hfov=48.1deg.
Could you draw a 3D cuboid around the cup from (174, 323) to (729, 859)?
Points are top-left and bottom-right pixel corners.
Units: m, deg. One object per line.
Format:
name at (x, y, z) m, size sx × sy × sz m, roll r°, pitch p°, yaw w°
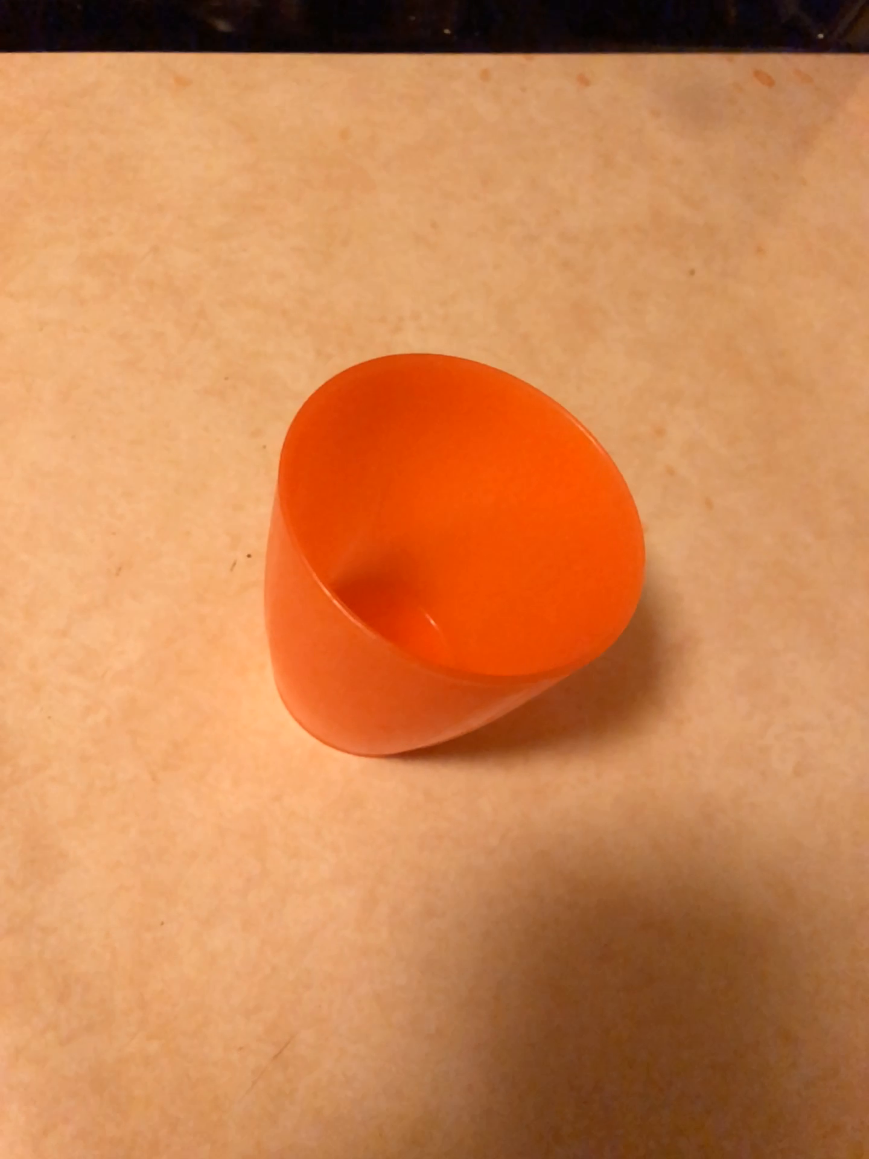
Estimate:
cup at (-0.002, 0.001, 0.222) m, size 0.080 × 0.070 × 0.080 m, roll 10°, pitch 57°, yaw -16°
